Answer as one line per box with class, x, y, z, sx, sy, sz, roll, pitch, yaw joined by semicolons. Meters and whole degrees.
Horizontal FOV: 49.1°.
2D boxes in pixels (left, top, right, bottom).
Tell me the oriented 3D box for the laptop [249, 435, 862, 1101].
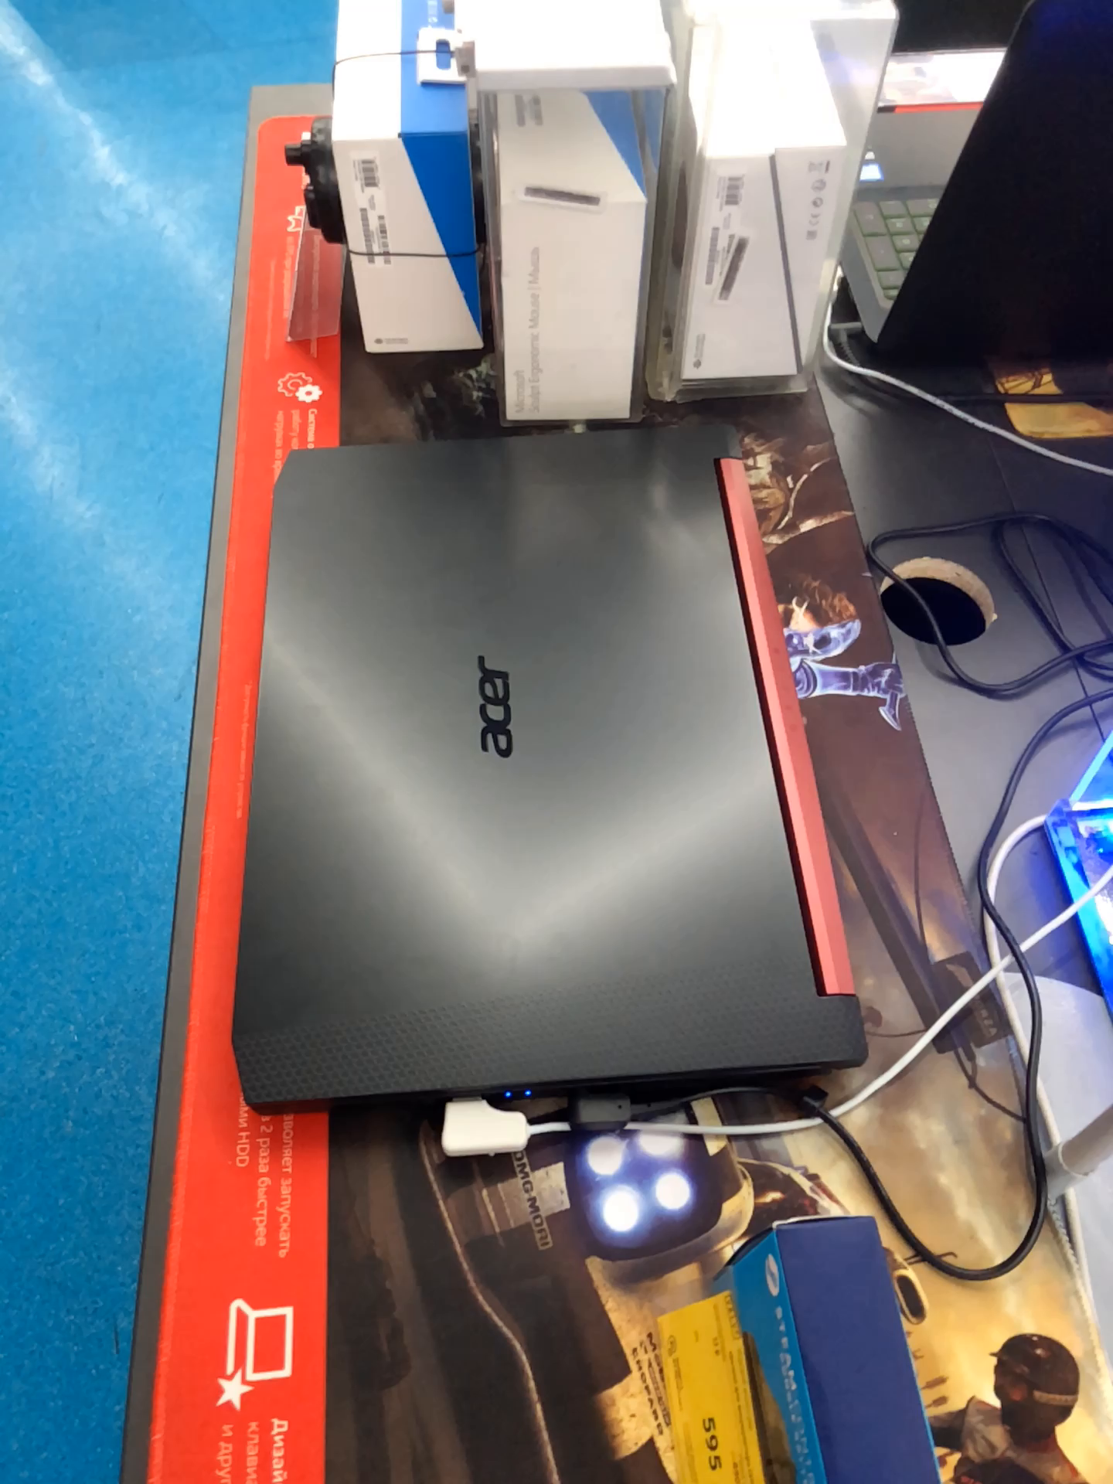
laptop;-0.013;-0.014;0.579;0.242;0.005;0.352;-4;57;-2
